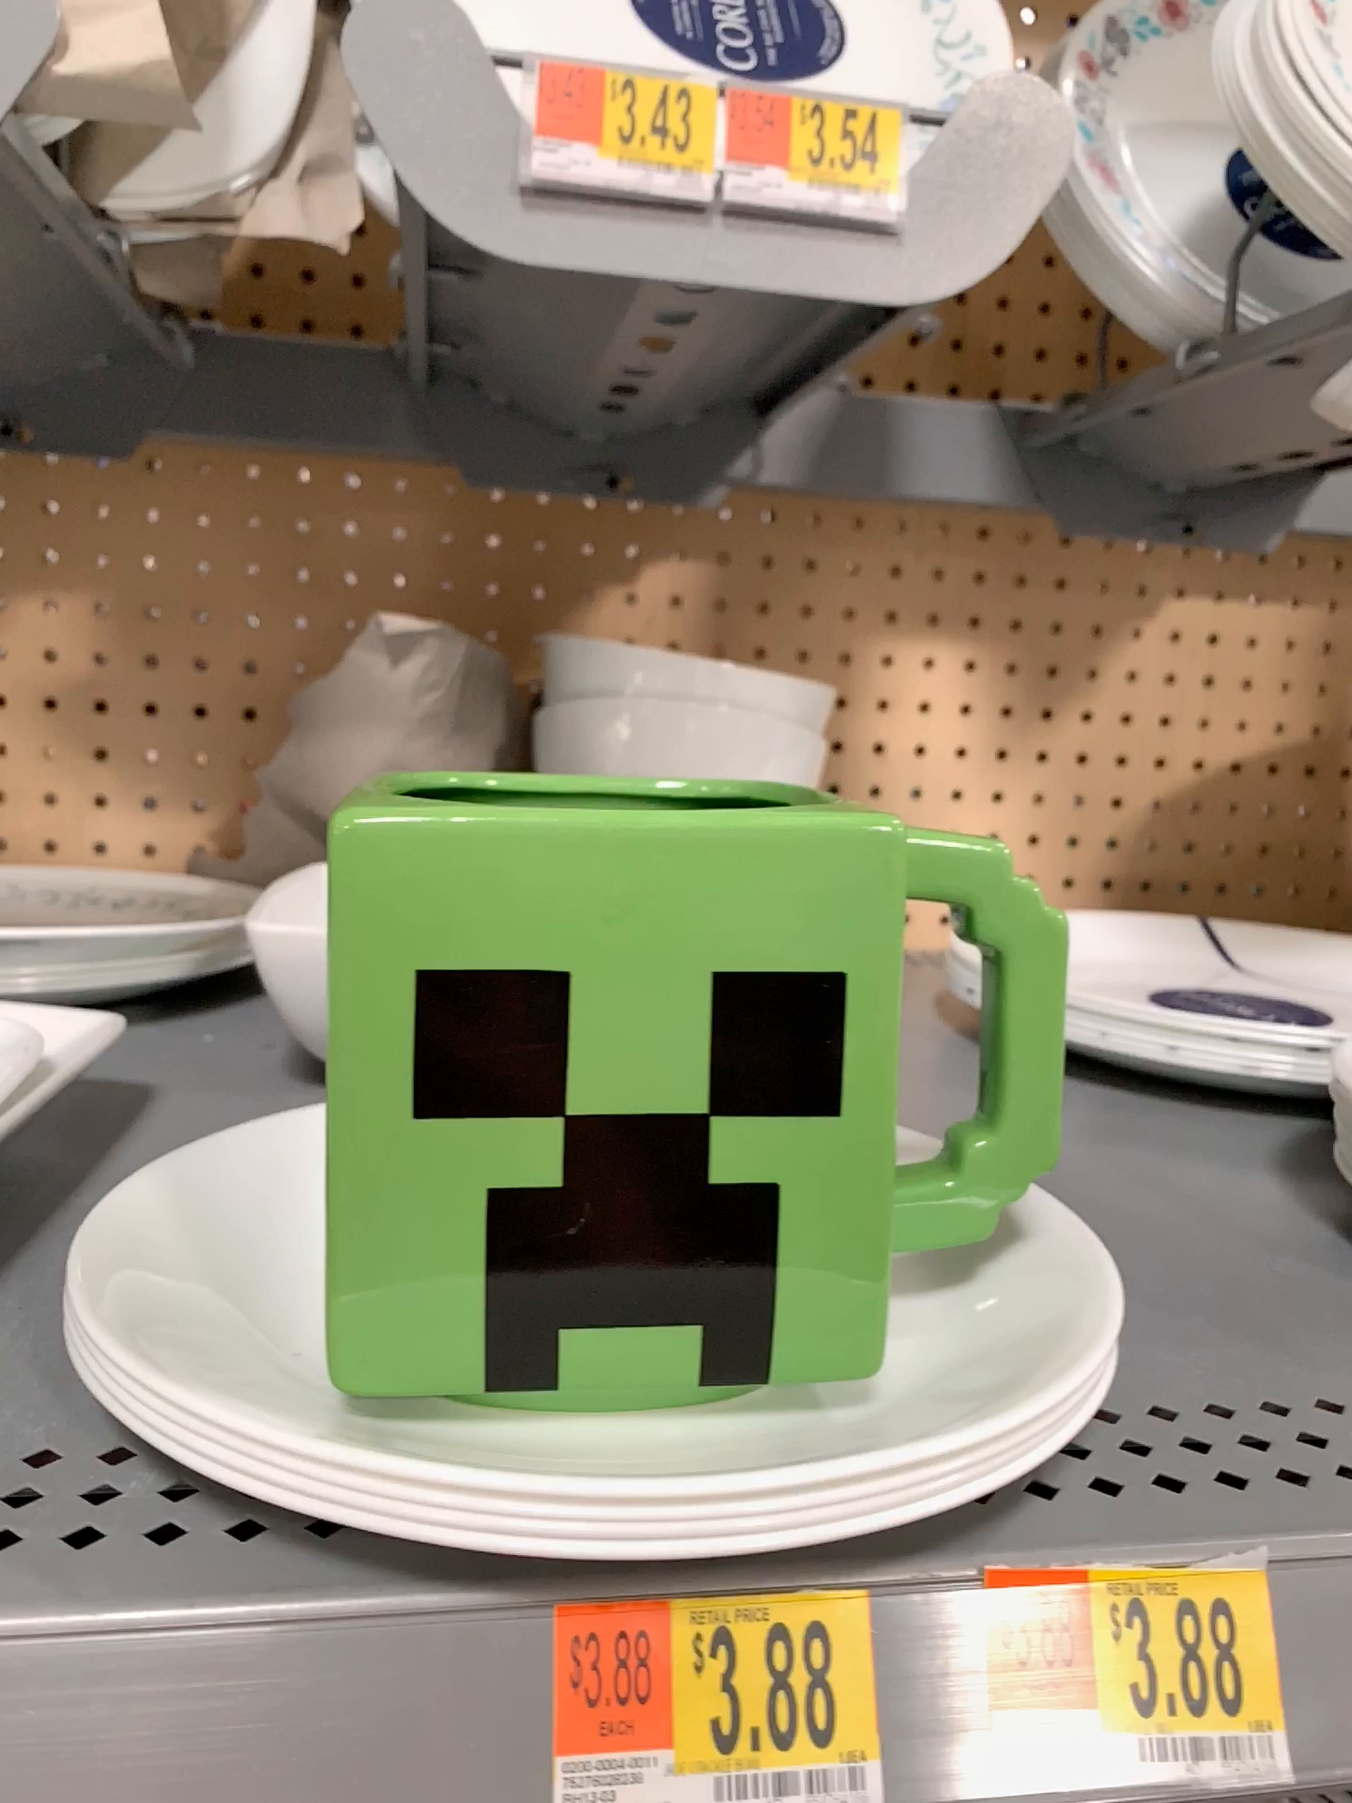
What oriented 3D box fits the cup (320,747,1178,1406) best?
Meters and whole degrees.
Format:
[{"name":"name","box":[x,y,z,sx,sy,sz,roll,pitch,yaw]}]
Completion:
[{"name":"cup","box":[0.006,0.027,0.292,0.142,0.104,0.106,2,9,-8]}]
